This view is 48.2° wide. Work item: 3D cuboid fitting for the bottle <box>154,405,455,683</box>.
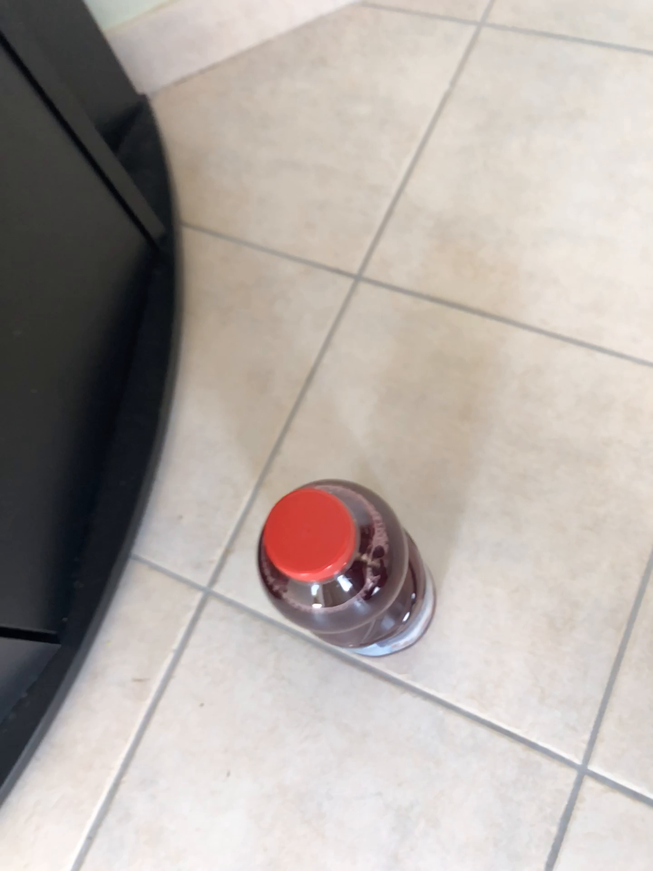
[{"bbox_3d":[0.009,0.081,0.437,0.100,0.240,0.090,21,76,18],"label":"bottle"}]
